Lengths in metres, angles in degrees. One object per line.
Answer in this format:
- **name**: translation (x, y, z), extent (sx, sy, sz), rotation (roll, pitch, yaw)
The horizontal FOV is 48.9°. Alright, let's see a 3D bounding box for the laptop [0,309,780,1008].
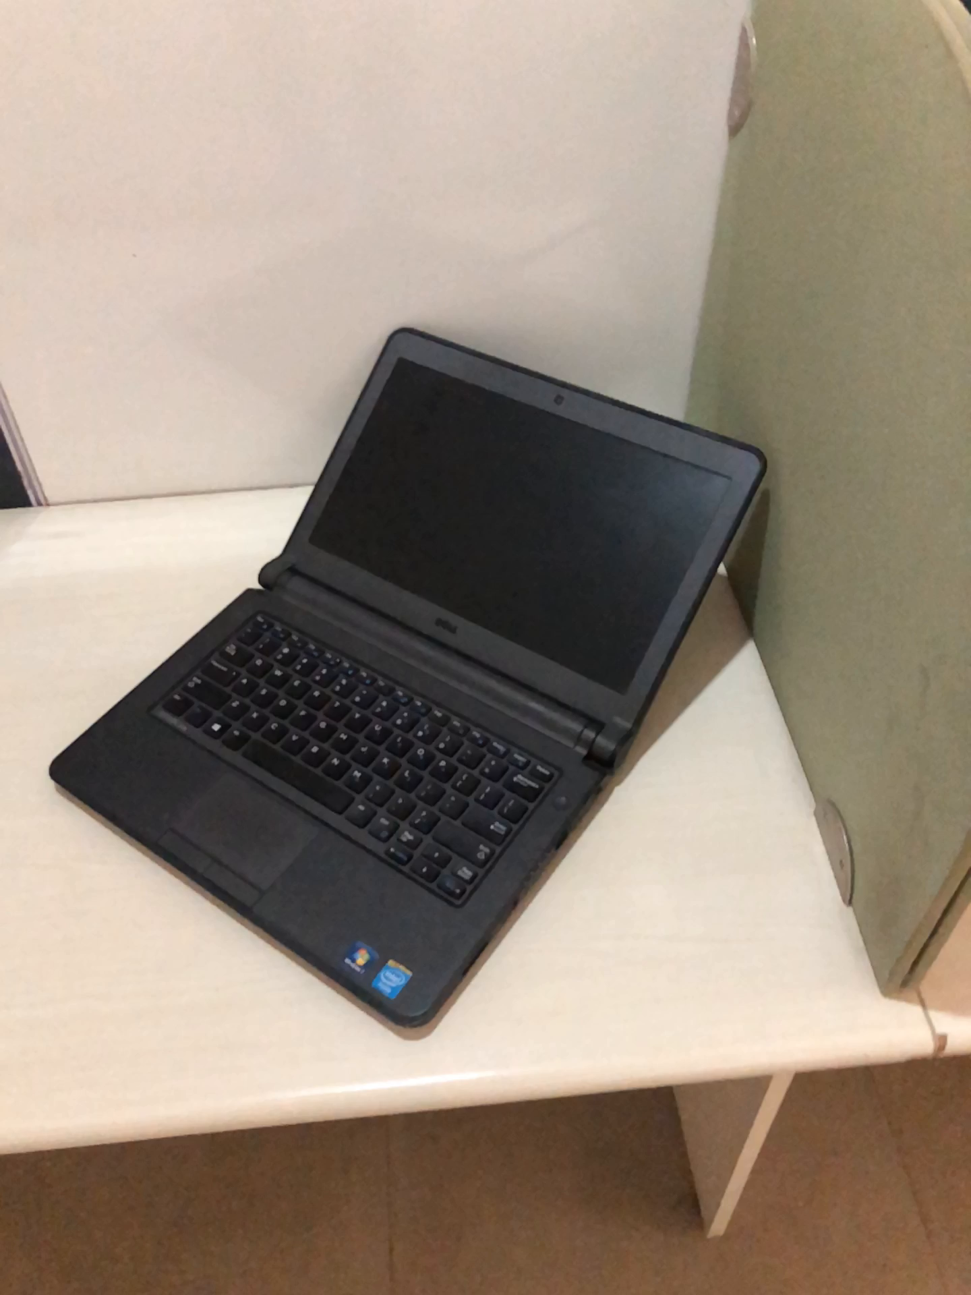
- **laptop**: translation (-0.048, -0.033, 0.708), extent (0.310, 0.128, 0.395), rotation (26, 55, 27)
